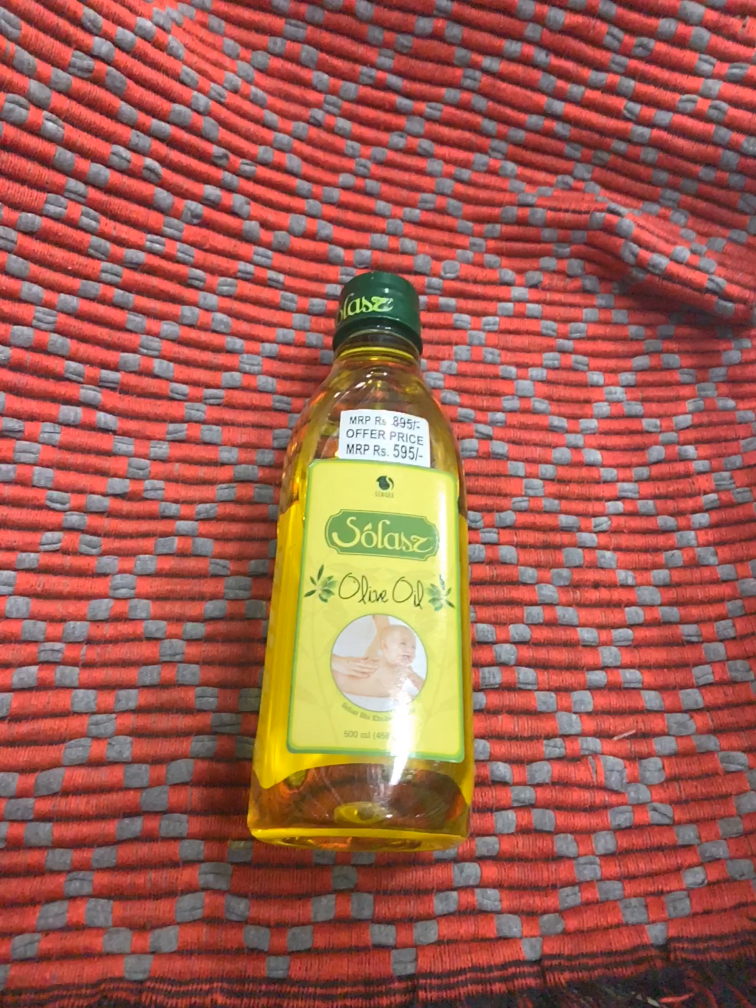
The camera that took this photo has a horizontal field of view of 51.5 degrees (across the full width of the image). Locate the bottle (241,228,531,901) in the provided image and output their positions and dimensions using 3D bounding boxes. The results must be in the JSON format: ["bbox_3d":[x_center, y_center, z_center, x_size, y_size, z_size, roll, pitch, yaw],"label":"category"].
[{"bbox_3d":[0.002,0.010,0.268,0.070,0.060,0.221,5,60,-5],"label":"bottle"}]
